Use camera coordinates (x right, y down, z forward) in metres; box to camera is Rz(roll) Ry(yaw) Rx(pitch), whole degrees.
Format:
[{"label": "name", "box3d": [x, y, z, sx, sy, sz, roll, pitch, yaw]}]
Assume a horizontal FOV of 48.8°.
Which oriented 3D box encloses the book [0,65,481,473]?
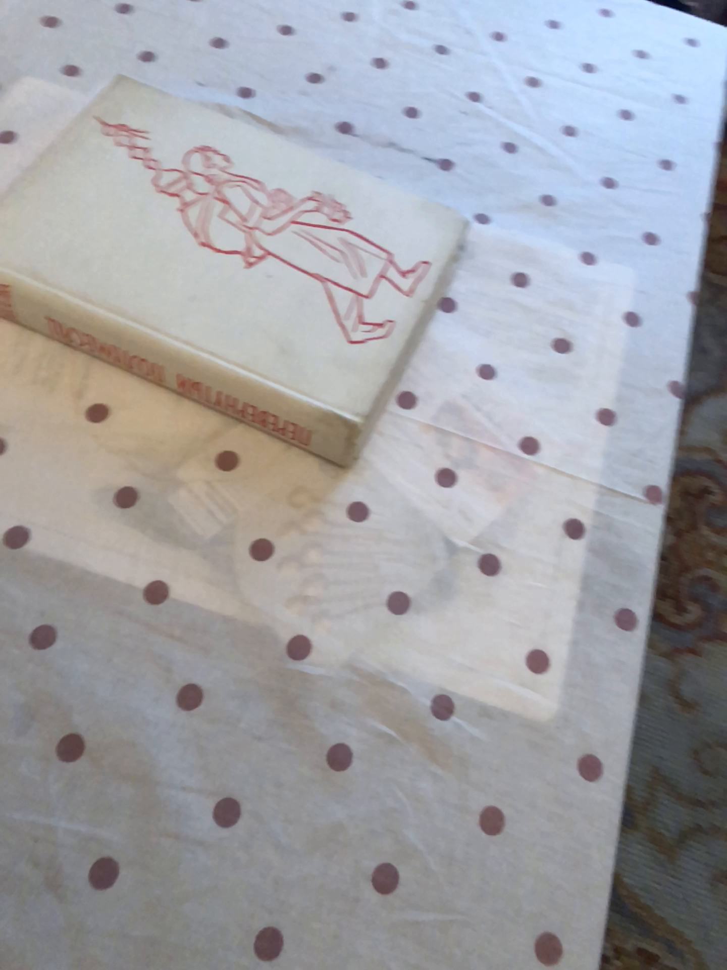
[{"label": "book", "box3d": [-0.076, -0.134, 0.470, 0.240, 0.050, 0.175, 23, 62, 5]}]
